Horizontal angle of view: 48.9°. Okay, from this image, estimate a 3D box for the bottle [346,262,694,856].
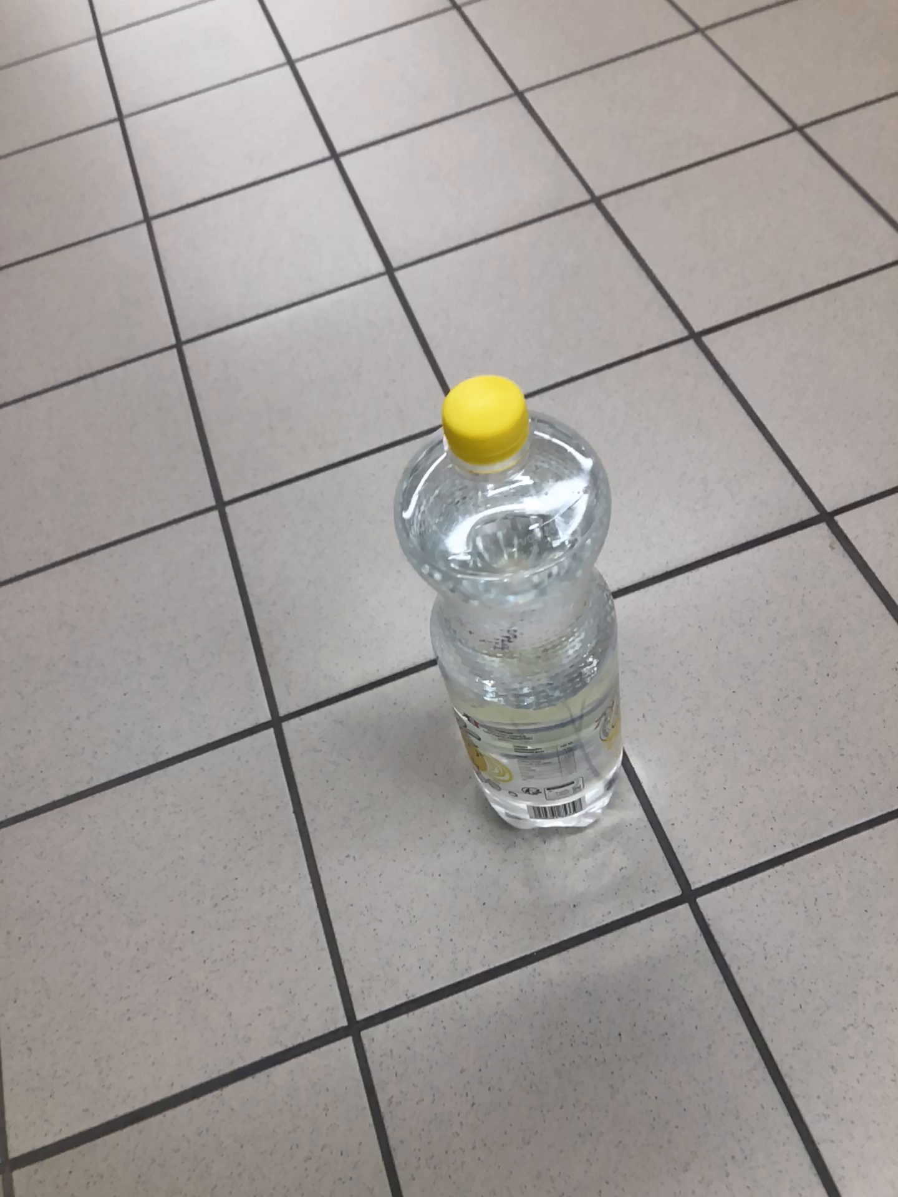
[{"bbox_3d":[0.045,0.011,0.483,0.100,0.318,0.100,-5,56,7],"label":"bottle"}]
